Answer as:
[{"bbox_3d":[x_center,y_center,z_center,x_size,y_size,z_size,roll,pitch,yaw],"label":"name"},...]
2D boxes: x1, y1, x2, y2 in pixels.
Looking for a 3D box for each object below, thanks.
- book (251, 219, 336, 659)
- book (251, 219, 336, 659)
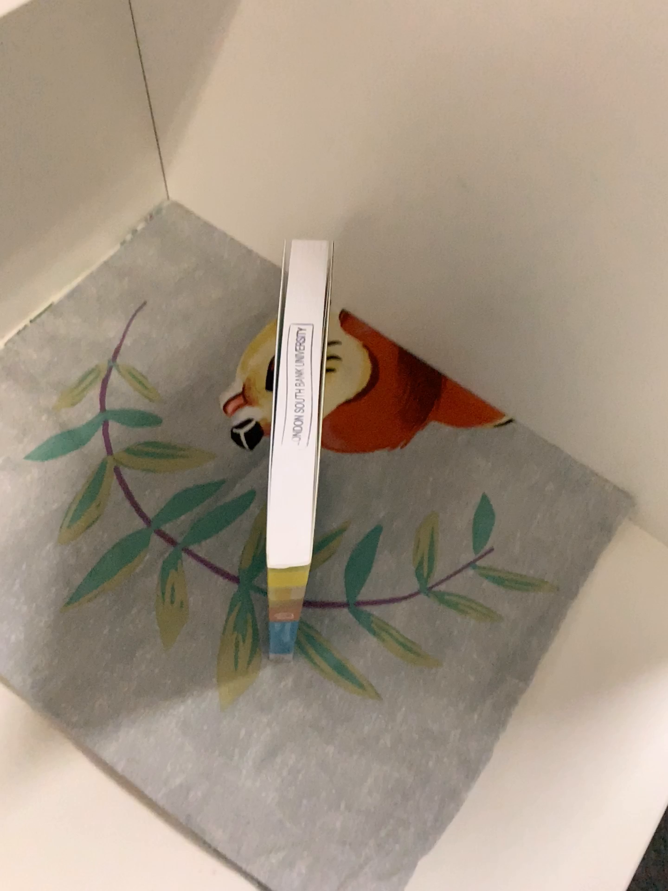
[{"bbox_3d":[-0.024,0.017,0.396,0.030,0.229,0.171,3,64,-4],"label":"book"},{"bbox_3d":[-0.024,0.017,0.396,0.030,0.229,0.171,3,64,-4],"label":"book"}]
